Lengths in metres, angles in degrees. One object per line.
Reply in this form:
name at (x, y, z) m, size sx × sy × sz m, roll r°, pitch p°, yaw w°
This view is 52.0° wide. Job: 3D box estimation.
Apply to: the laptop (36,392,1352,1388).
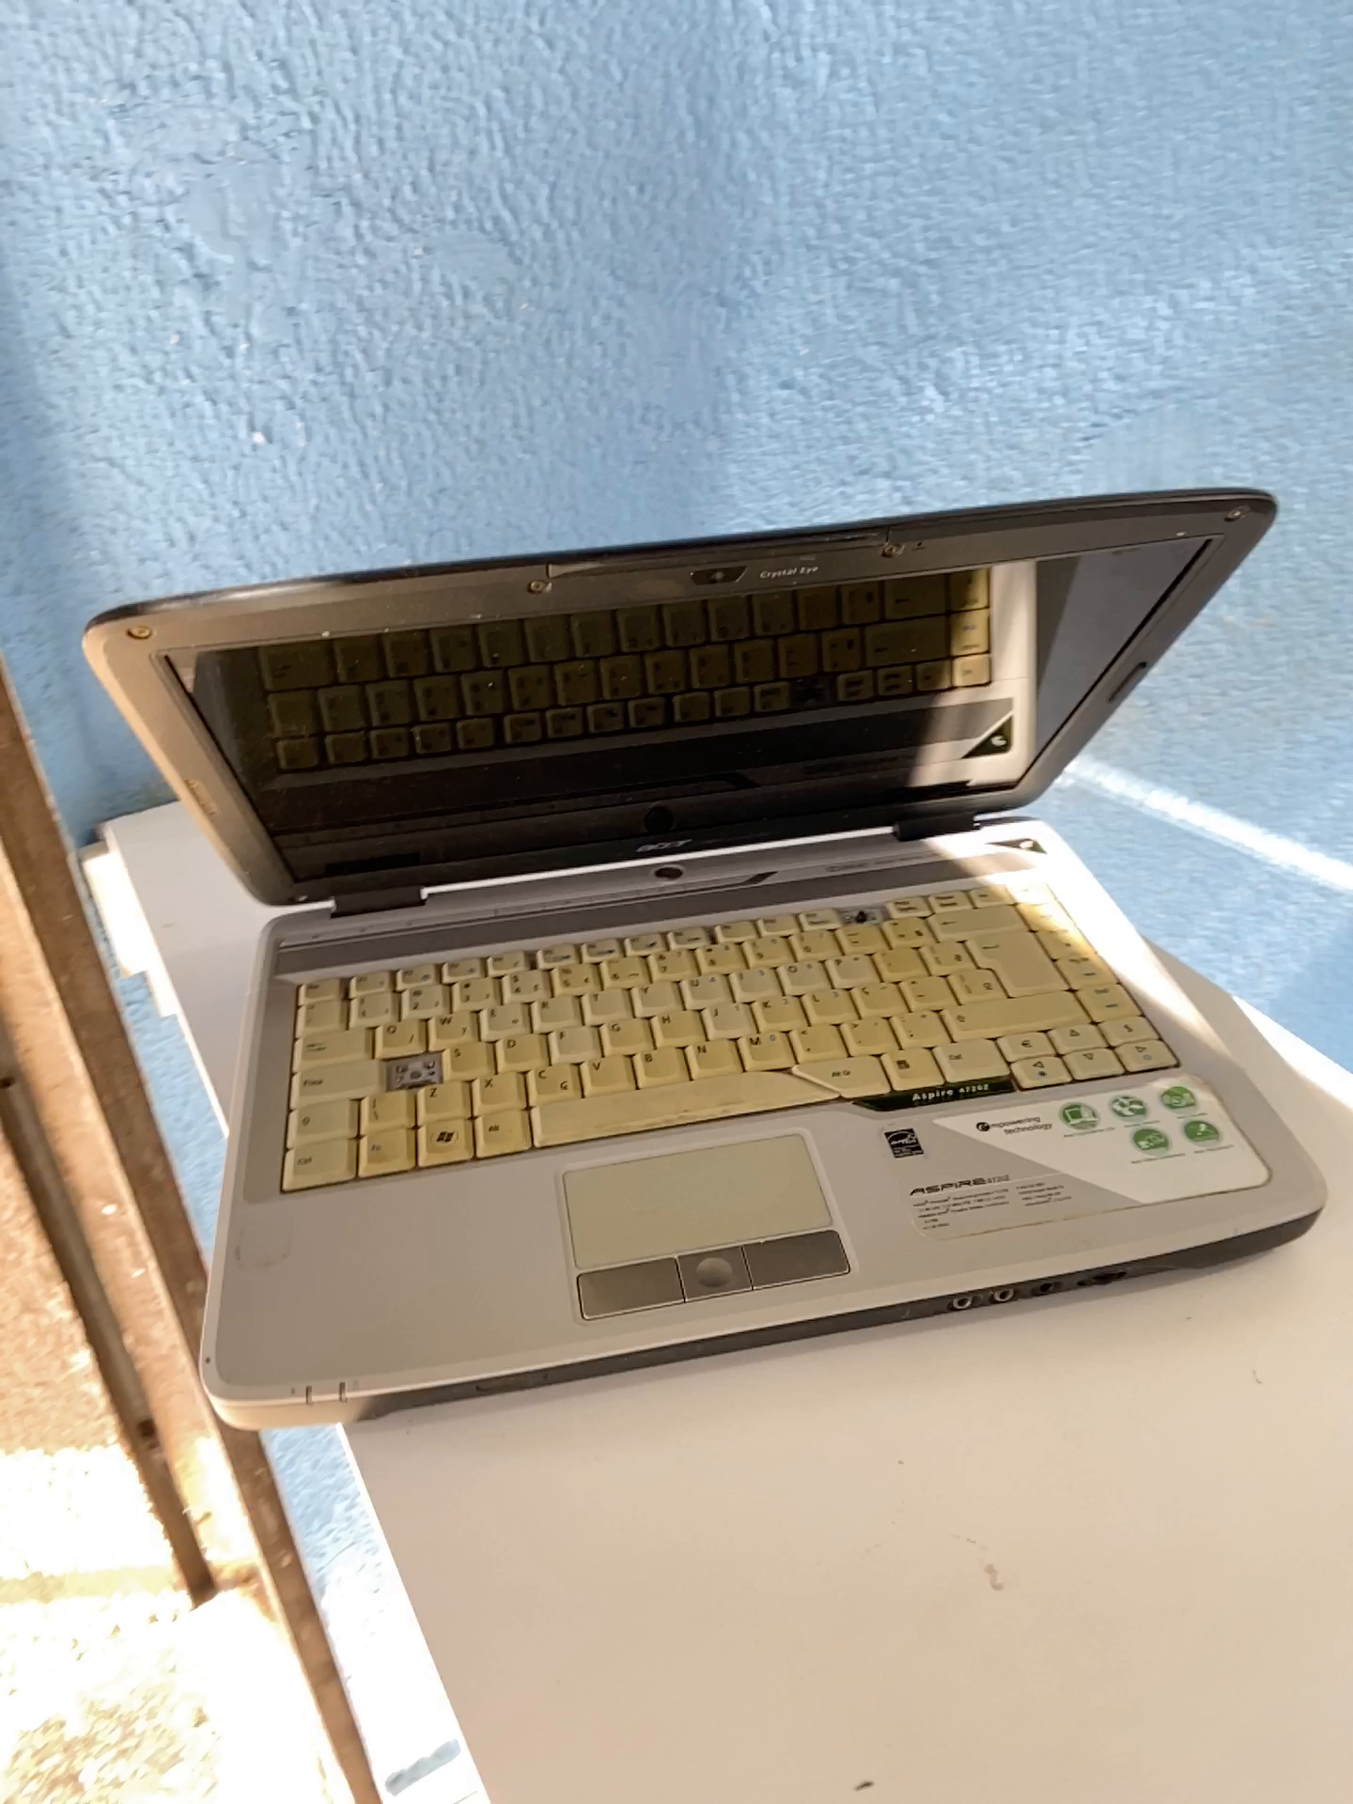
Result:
laptop at (0.013, -0.026, 0.445) m, size 0.328 × 0.179 × 0.226 m, roll -8°, pitch 34°, yaw -7°
